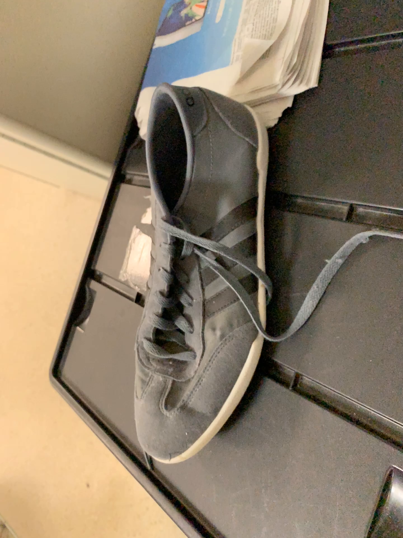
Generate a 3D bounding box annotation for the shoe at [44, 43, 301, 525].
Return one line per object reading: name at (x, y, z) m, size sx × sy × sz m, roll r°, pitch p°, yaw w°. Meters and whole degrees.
shoe at (-0.019, 0.004, 0.295) m, size 0.114 × 0.077 × 0.268 m, roll 3°, pitch 79°, yaw 45°
